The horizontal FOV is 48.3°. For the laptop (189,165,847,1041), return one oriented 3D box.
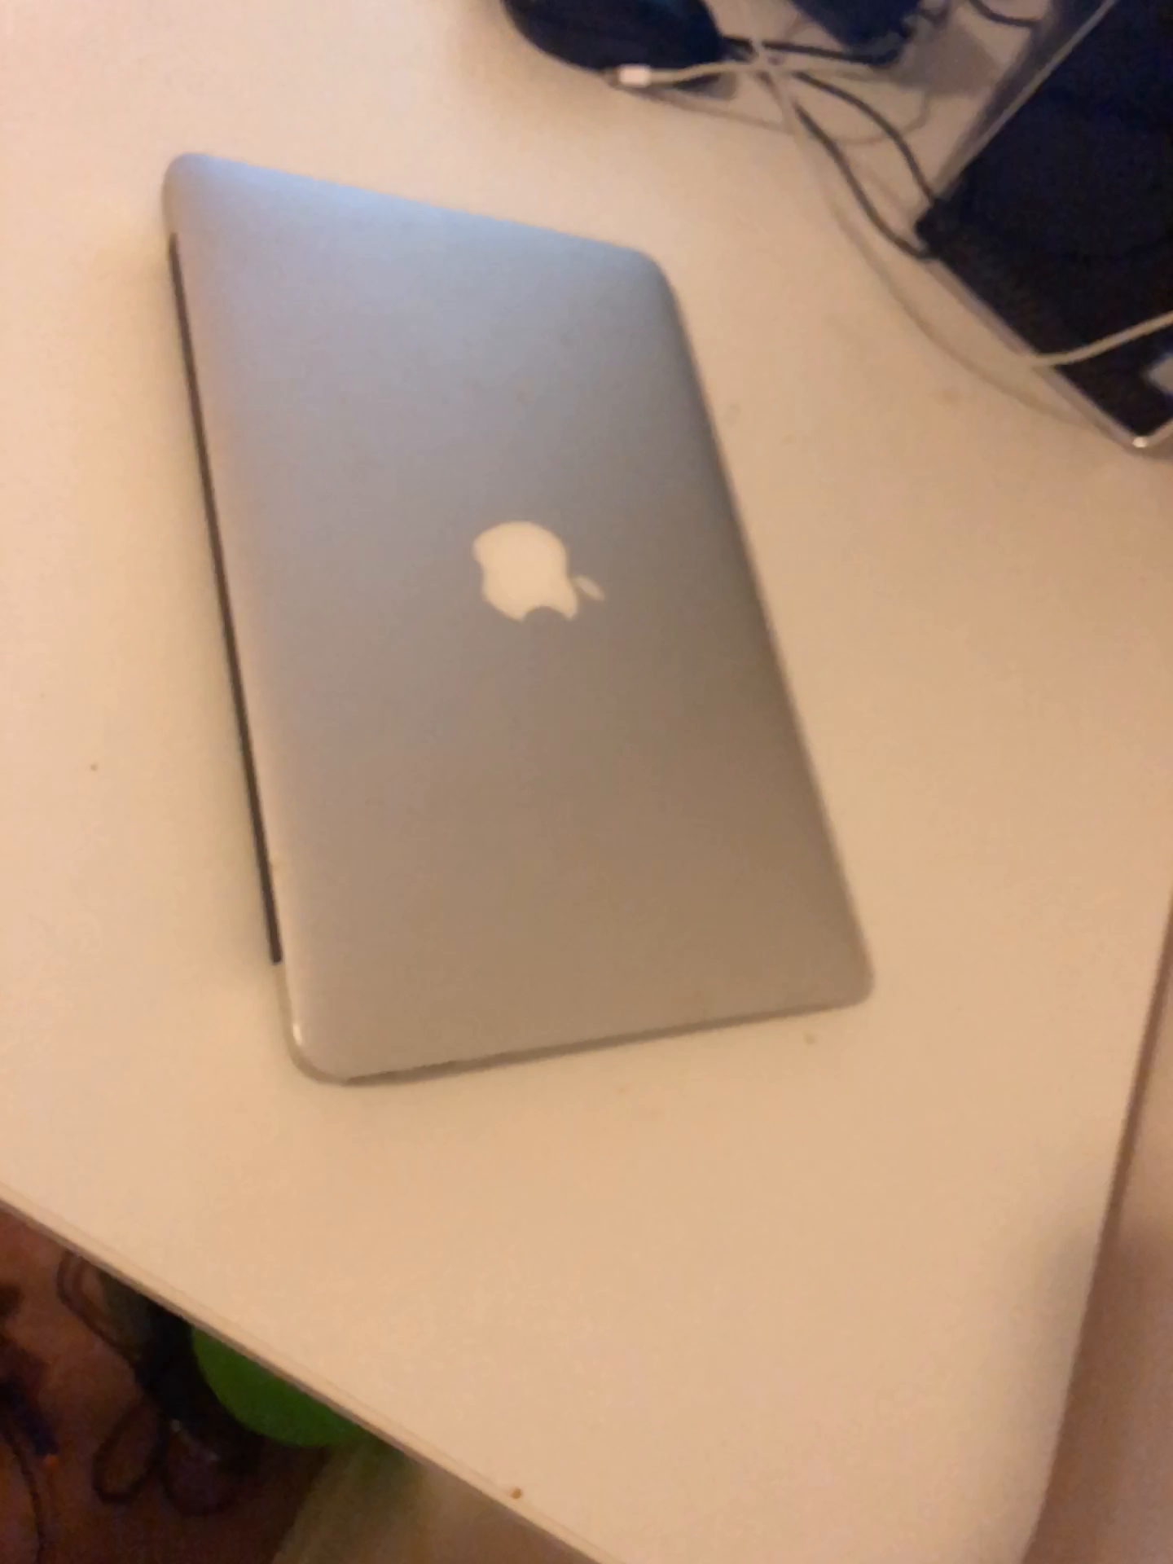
[{"bbox_3d":[-0.023,-0.069,0.434,0.178,0.004,0.290,-2,70,-31],"label":"laptop"}]
